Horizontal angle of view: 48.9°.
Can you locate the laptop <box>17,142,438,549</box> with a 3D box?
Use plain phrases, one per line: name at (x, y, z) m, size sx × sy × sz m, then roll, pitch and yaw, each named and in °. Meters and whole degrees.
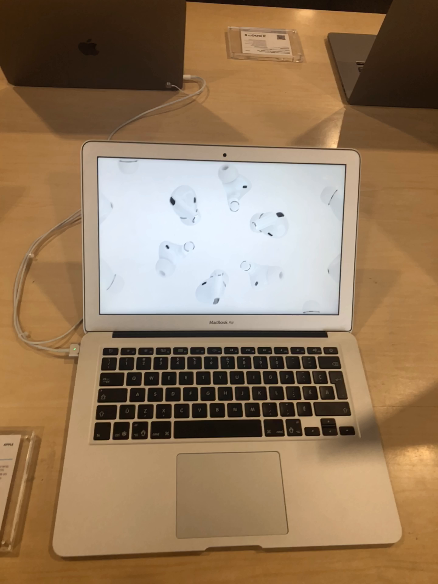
laptop at (0.009, 0.031, 0.480) m, size 0.302 × 0.137 × 0.371 m, roll 0°, pitch 54°, yaw -5°
